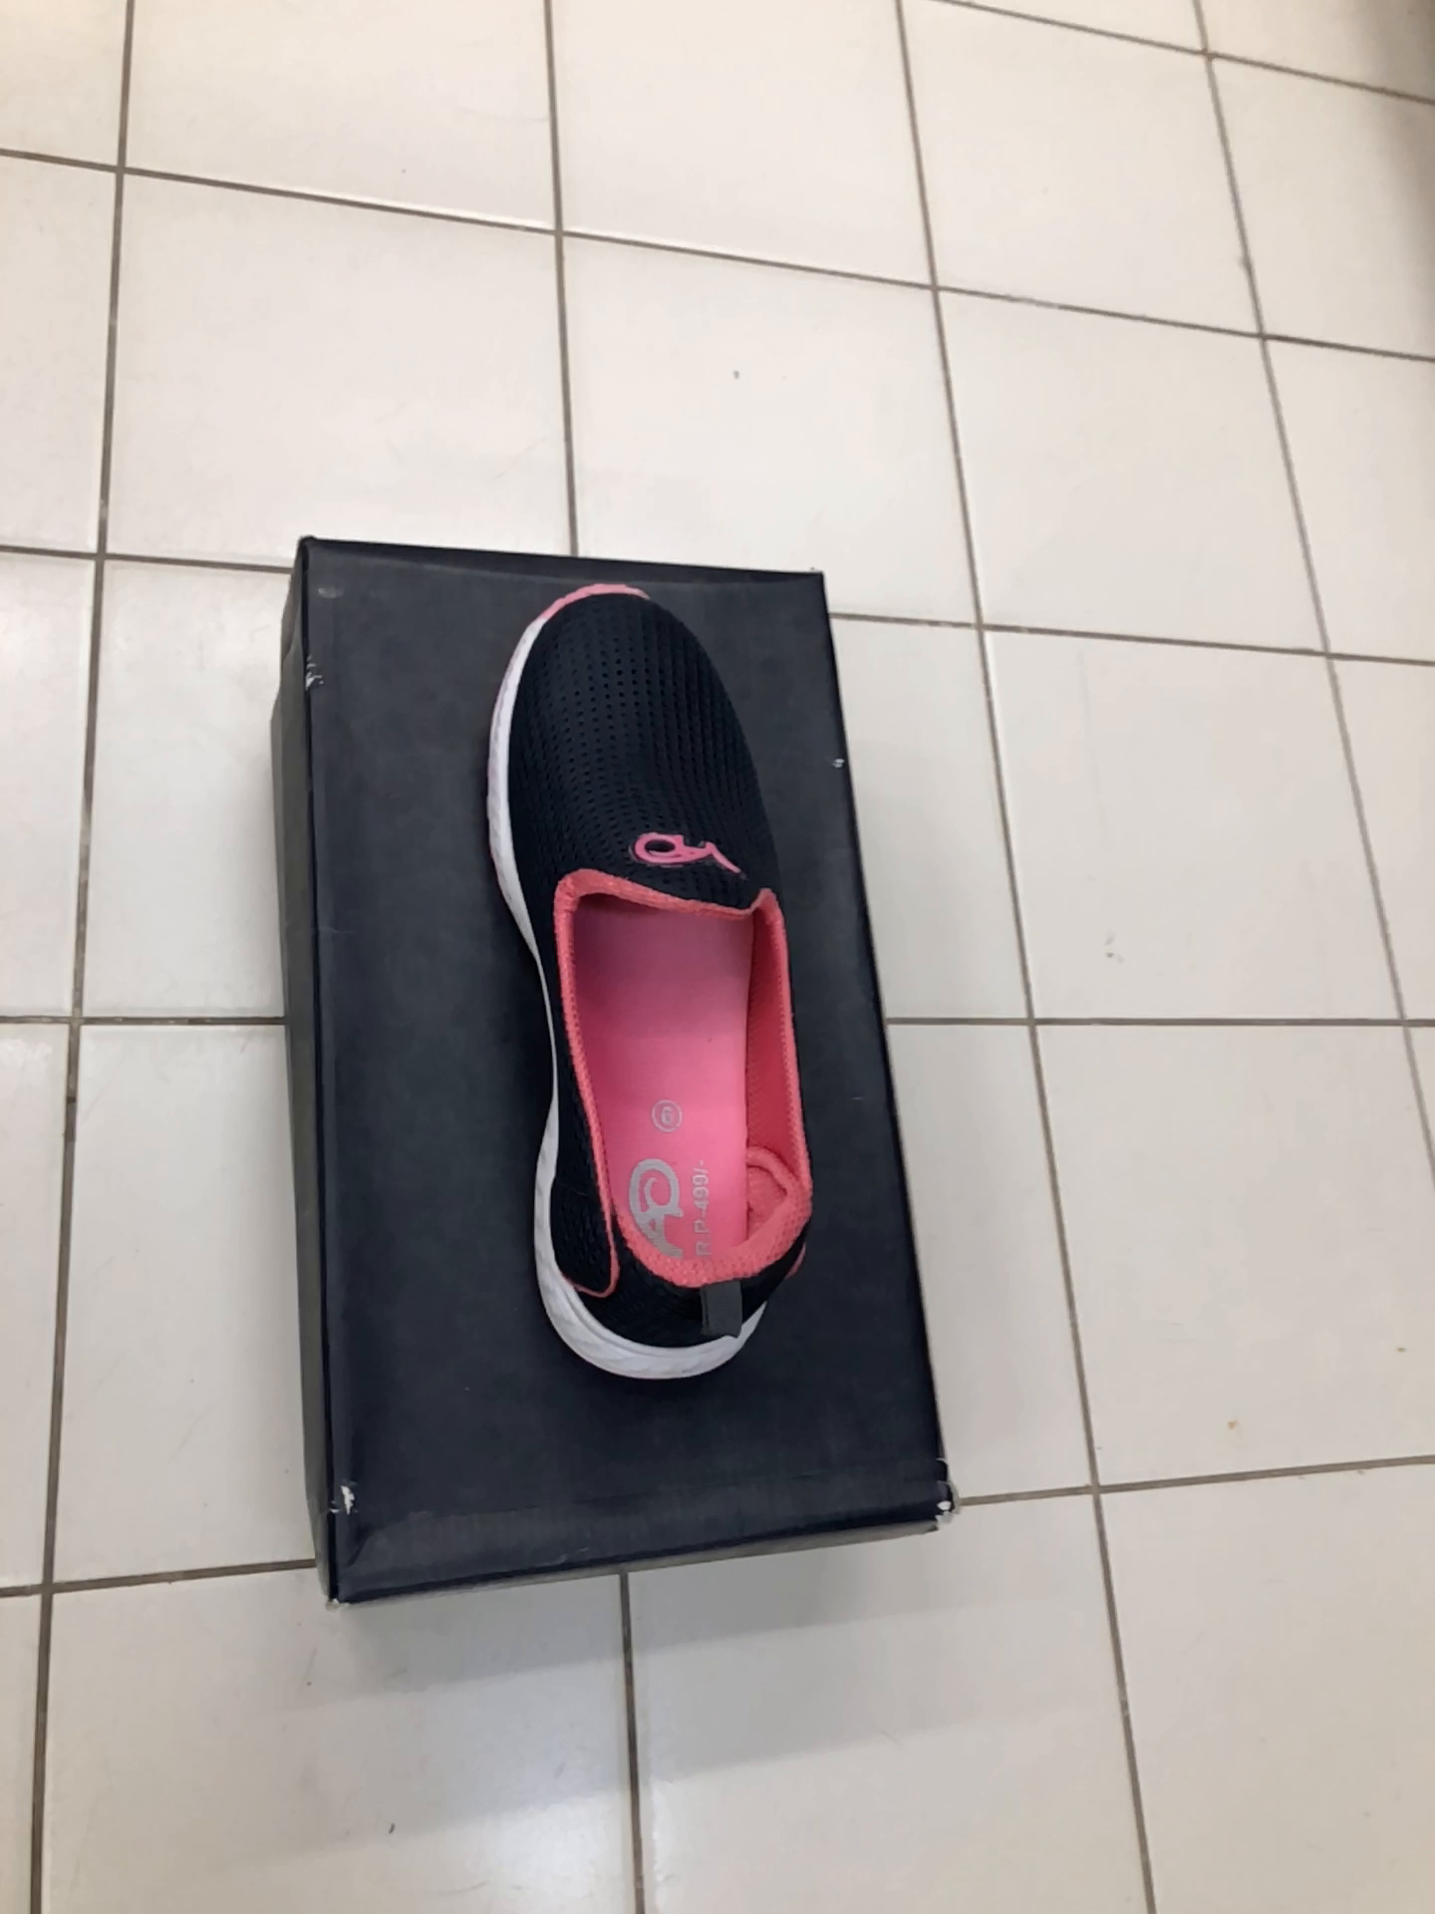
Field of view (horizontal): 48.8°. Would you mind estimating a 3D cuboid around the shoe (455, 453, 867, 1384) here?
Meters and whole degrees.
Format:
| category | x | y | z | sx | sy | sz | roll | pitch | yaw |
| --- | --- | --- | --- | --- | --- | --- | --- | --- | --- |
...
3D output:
| category | x | y | z | sx | sy | sz | roll | pitch | yaw |
| --- | --- | --- | --- | --- | --- | --- | --- | --- | --- |
| shoe | -0.027 | -0.010 | 0.503 | 0.090 | 0.100 | 0.270 | 0 | 72 | -16 |
